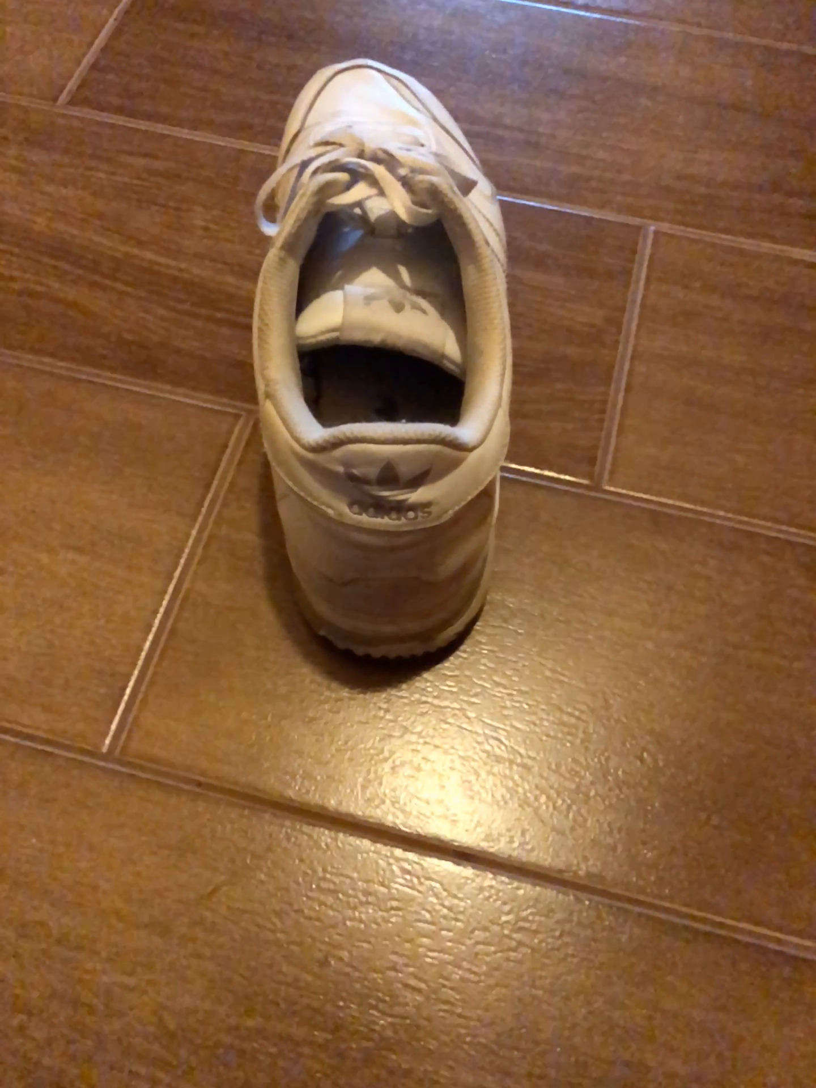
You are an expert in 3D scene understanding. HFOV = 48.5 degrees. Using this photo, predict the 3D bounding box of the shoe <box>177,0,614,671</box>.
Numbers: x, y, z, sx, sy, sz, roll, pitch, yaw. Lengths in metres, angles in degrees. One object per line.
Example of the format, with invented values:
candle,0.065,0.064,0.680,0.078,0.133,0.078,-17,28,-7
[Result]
shoe,-0.007,-0.116,0.373,0.120,0.119,0.311,0,63,-2
